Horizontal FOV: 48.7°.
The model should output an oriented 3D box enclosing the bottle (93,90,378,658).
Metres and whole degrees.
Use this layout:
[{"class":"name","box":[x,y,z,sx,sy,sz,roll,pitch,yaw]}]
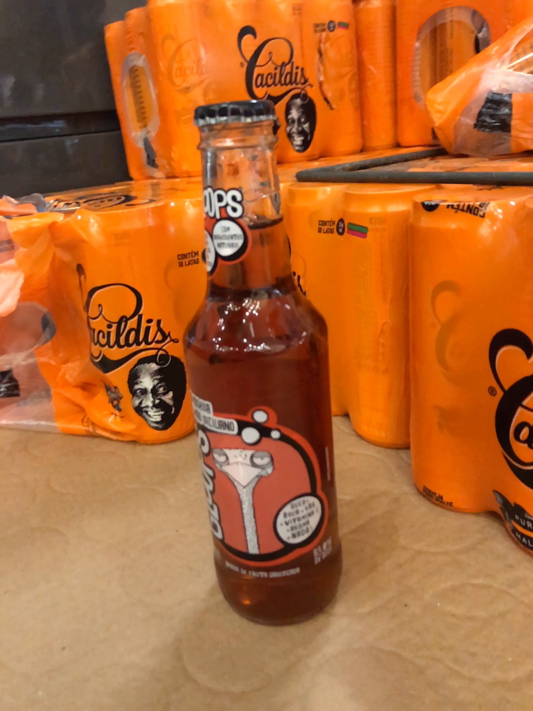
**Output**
[{"class":"bottle","box":[-0.004,0.008,0.220,0.070,0.189,0.050,10,25,36]}]
